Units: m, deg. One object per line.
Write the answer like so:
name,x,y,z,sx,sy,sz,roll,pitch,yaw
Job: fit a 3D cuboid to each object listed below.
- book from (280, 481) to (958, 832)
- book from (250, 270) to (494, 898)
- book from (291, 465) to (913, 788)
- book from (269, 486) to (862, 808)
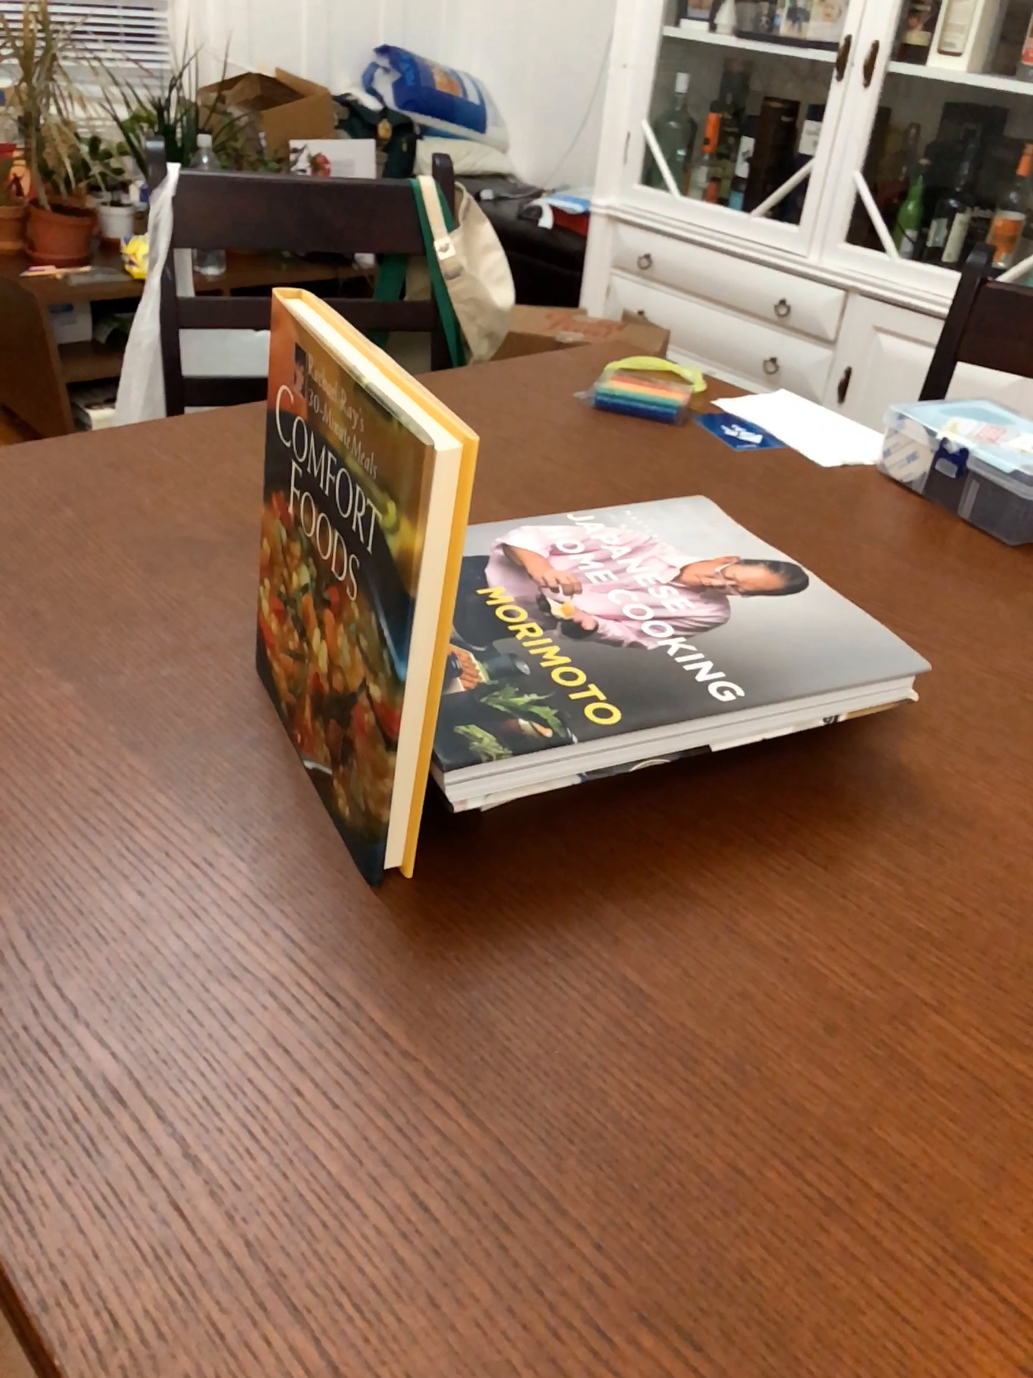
book,0.046,-0.038,0.599,0.280,0.030,0.221,-12,37,-25
book,-0.080,-0.056,0.521,0.030,0.209,0.211,-8,36,-25
book,0.046,-0.055,0.656,0.281,0.030,0.221,-16,38,-29
book,0.028,-0.045,0.688,0.281,0.030,0.221,-17,39,-31
